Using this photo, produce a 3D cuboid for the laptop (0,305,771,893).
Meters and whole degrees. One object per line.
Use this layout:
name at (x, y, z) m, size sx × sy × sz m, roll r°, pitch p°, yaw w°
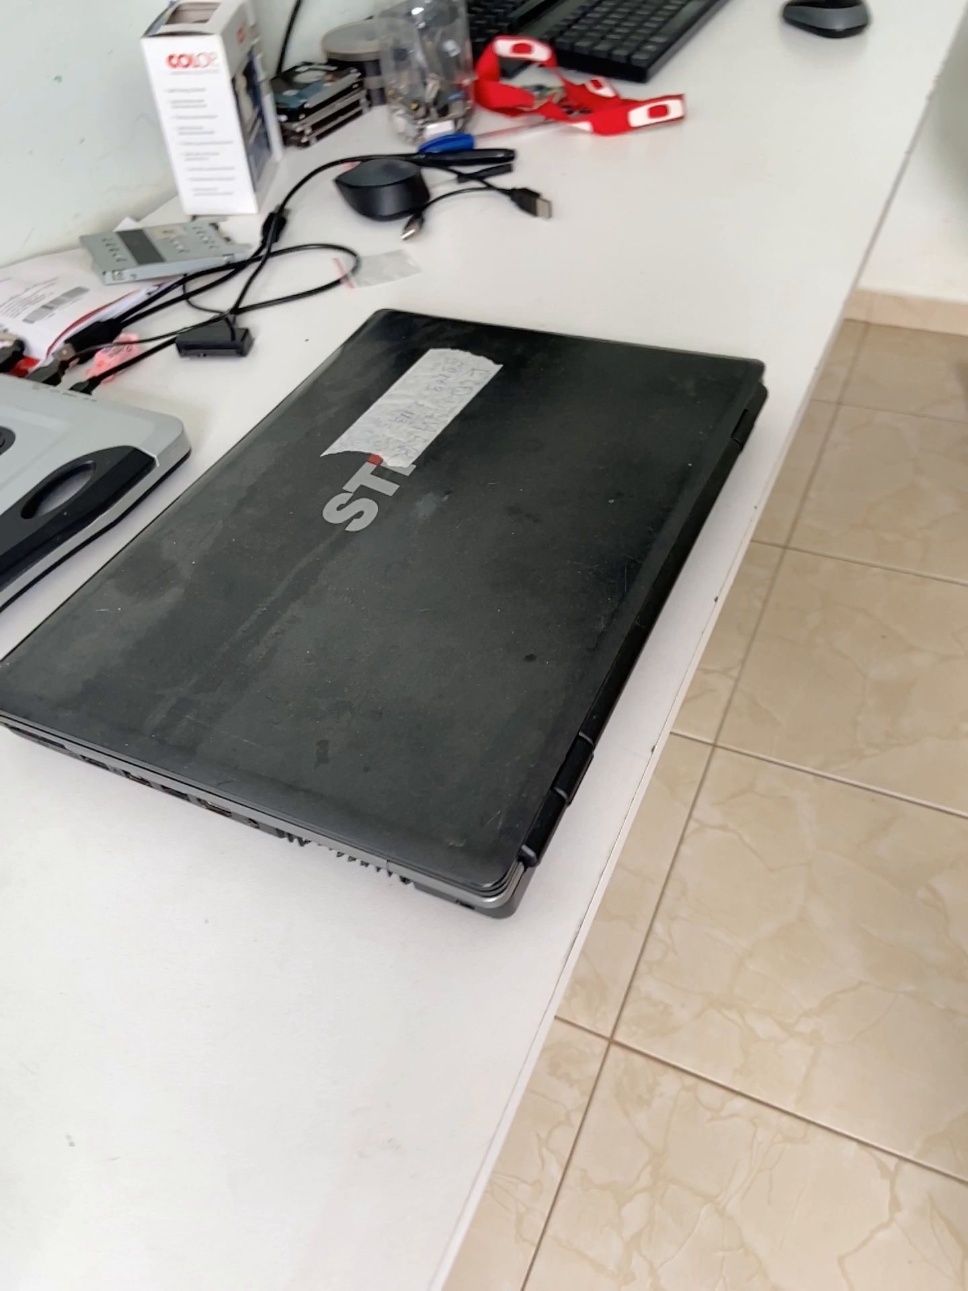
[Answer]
laptop at (-0.026, -0.064, 0.471) m, size 0.234 × 0.006 × 0.339 m, roll 15°, pitch 50°, yaw 22°
